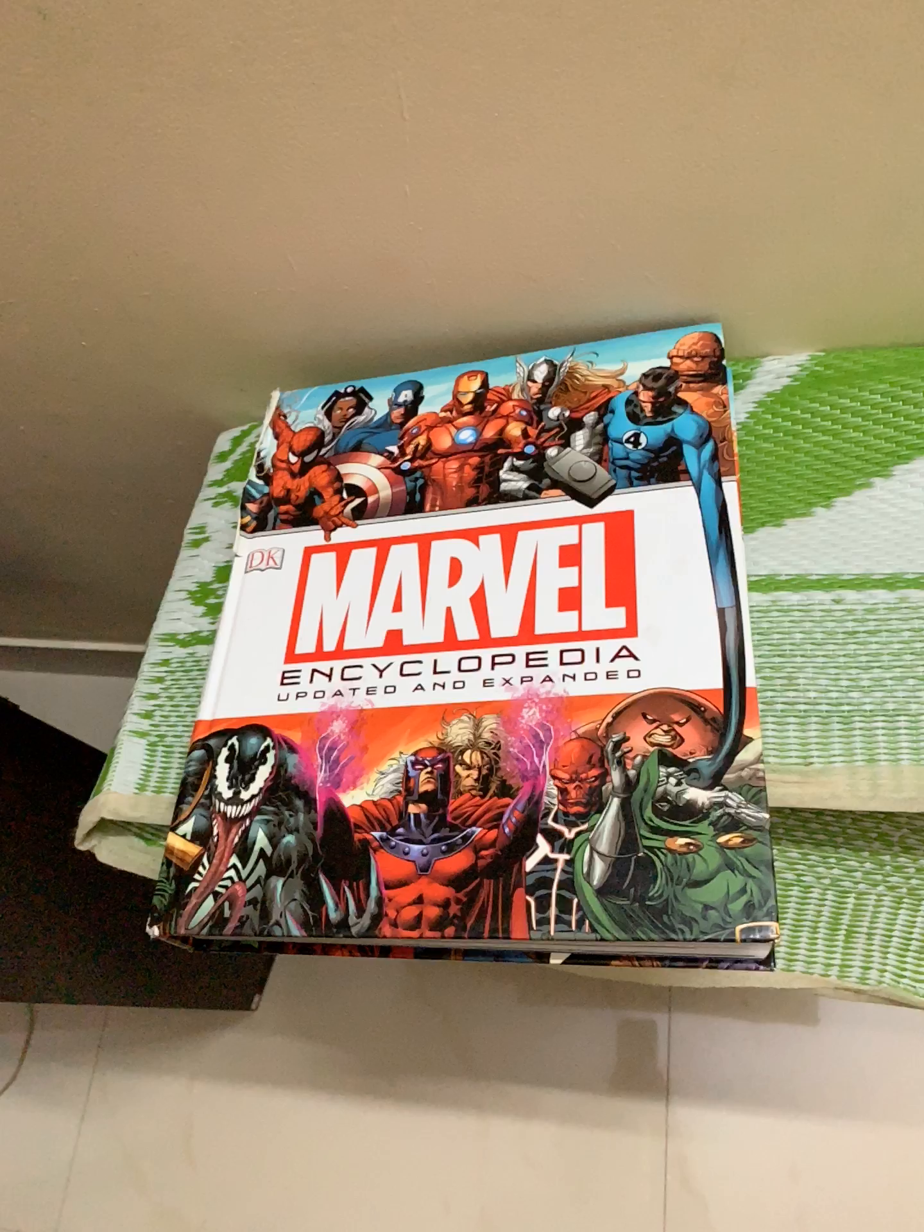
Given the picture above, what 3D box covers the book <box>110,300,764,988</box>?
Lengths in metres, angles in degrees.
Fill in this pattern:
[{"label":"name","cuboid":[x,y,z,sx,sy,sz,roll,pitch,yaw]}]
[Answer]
[{"label":"book","cuboid":[-0.004,-0.001,0.455,0.260,0.040,0.321,-4,60,16]}]
